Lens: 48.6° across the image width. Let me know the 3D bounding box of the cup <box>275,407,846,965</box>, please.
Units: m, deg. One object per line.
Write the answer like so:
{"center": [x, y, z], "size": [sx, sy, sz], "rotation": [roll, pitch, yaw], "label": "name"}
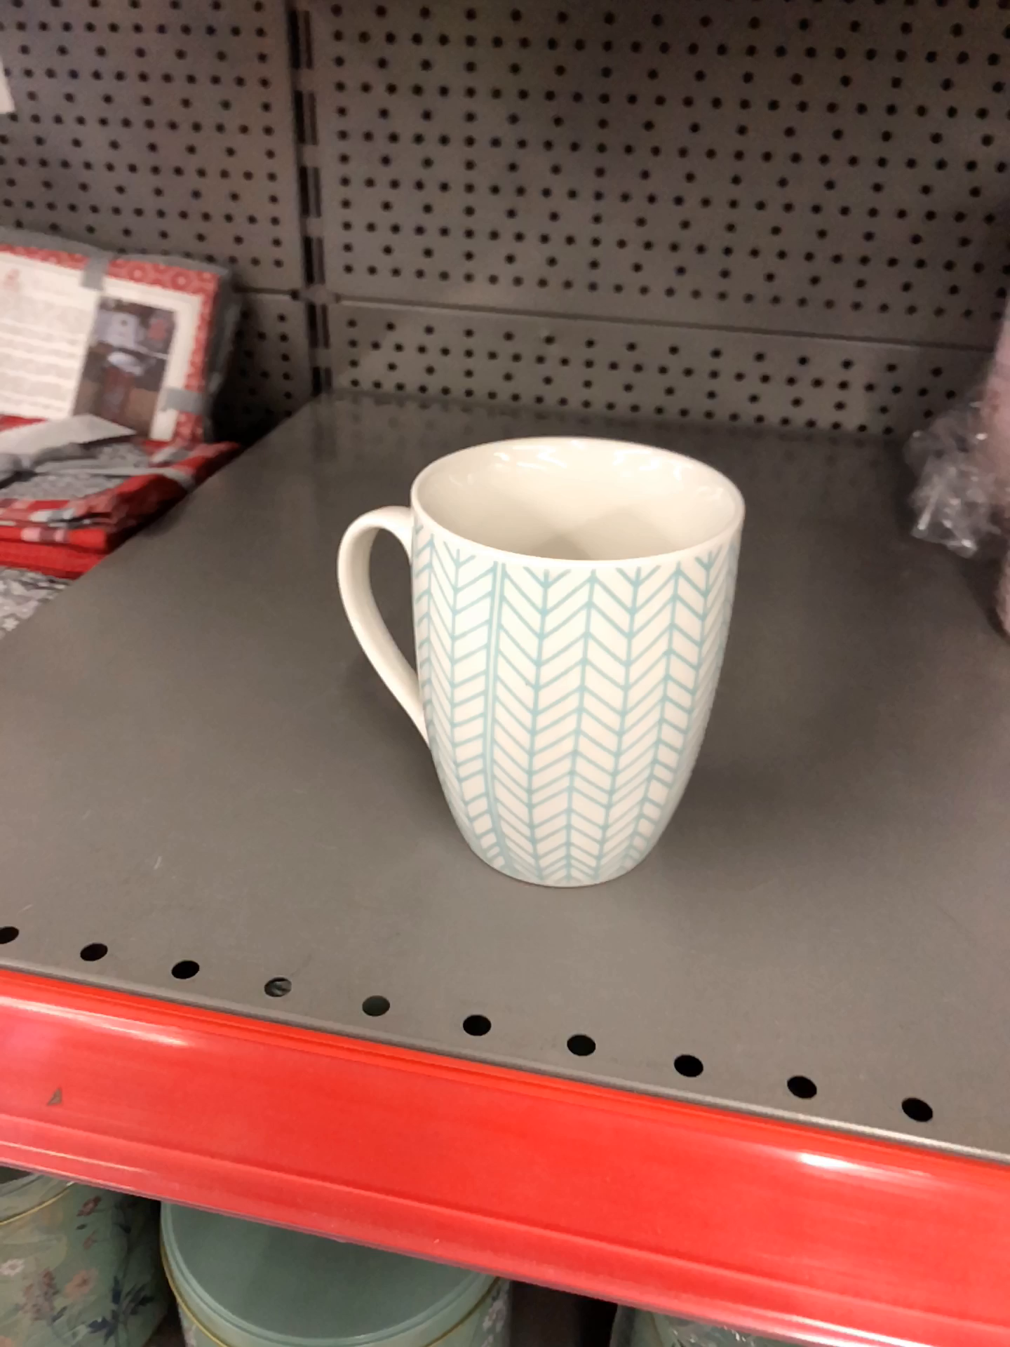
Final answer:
{"center": [0.016, -0.005, 0.317], "size": [0.119, 0.096, 0.093], "rotation": [18, 35, 25], "label": "cup"}
